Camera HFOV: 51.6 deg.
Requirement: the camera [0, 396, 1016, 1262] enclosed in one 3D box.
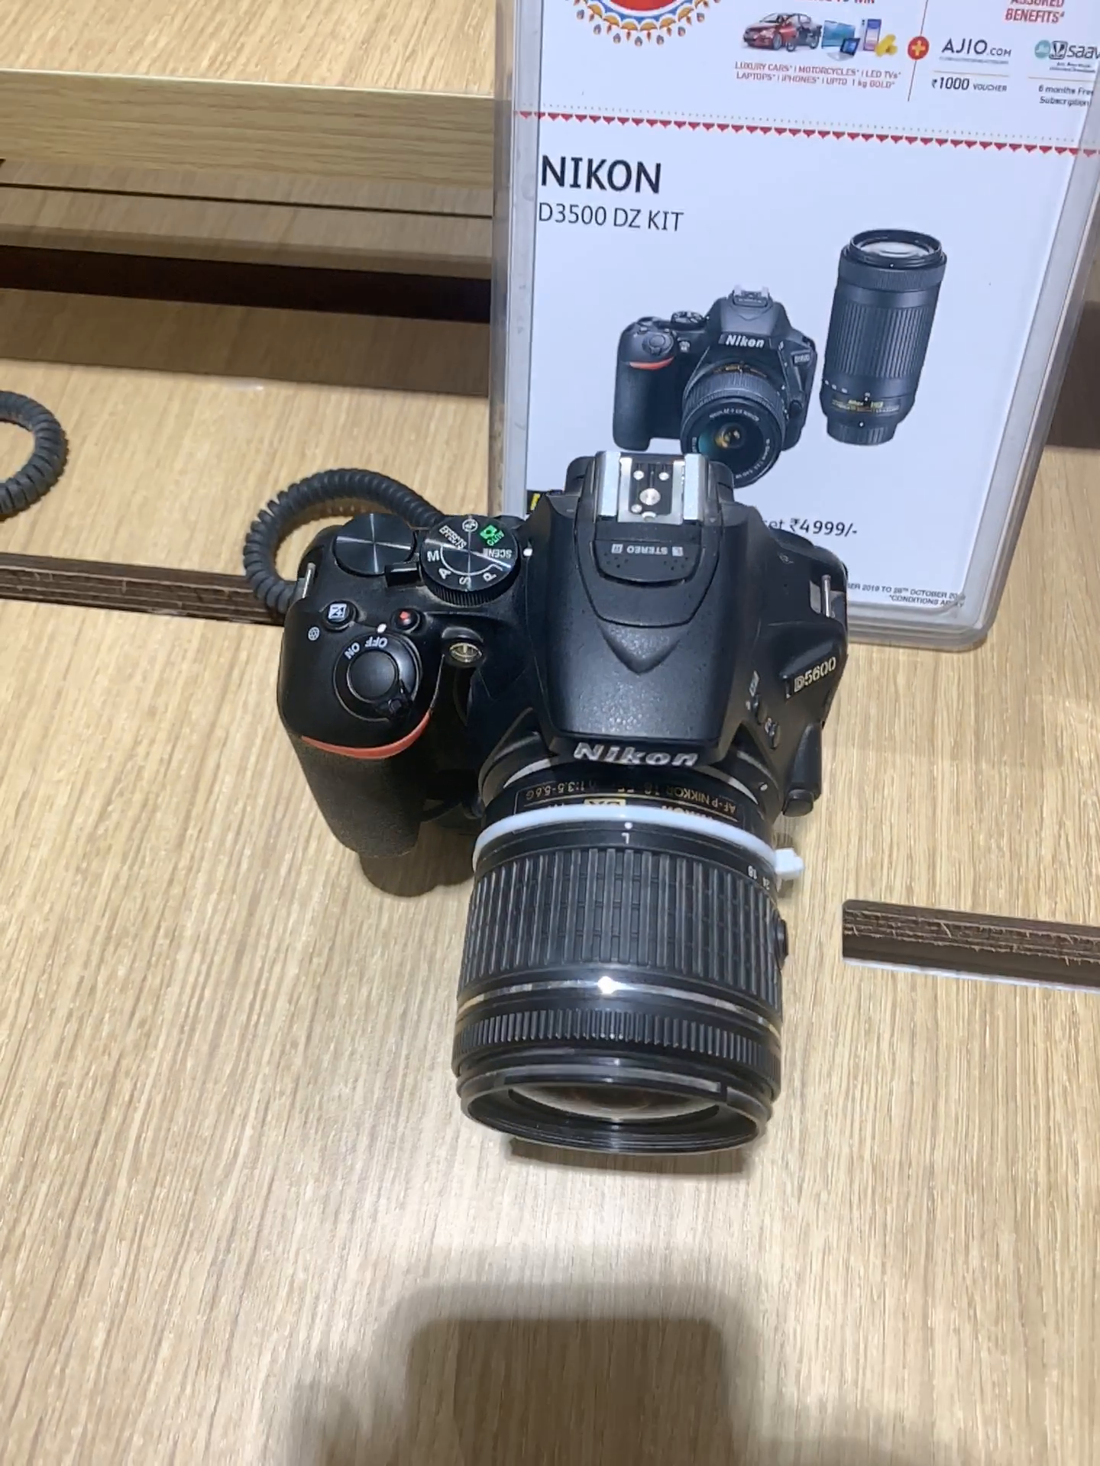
[{"bbox_3d":[0.000,0.021,0.215,0.130,0.100,0.120,5,60,5],"label":"camera"}]
